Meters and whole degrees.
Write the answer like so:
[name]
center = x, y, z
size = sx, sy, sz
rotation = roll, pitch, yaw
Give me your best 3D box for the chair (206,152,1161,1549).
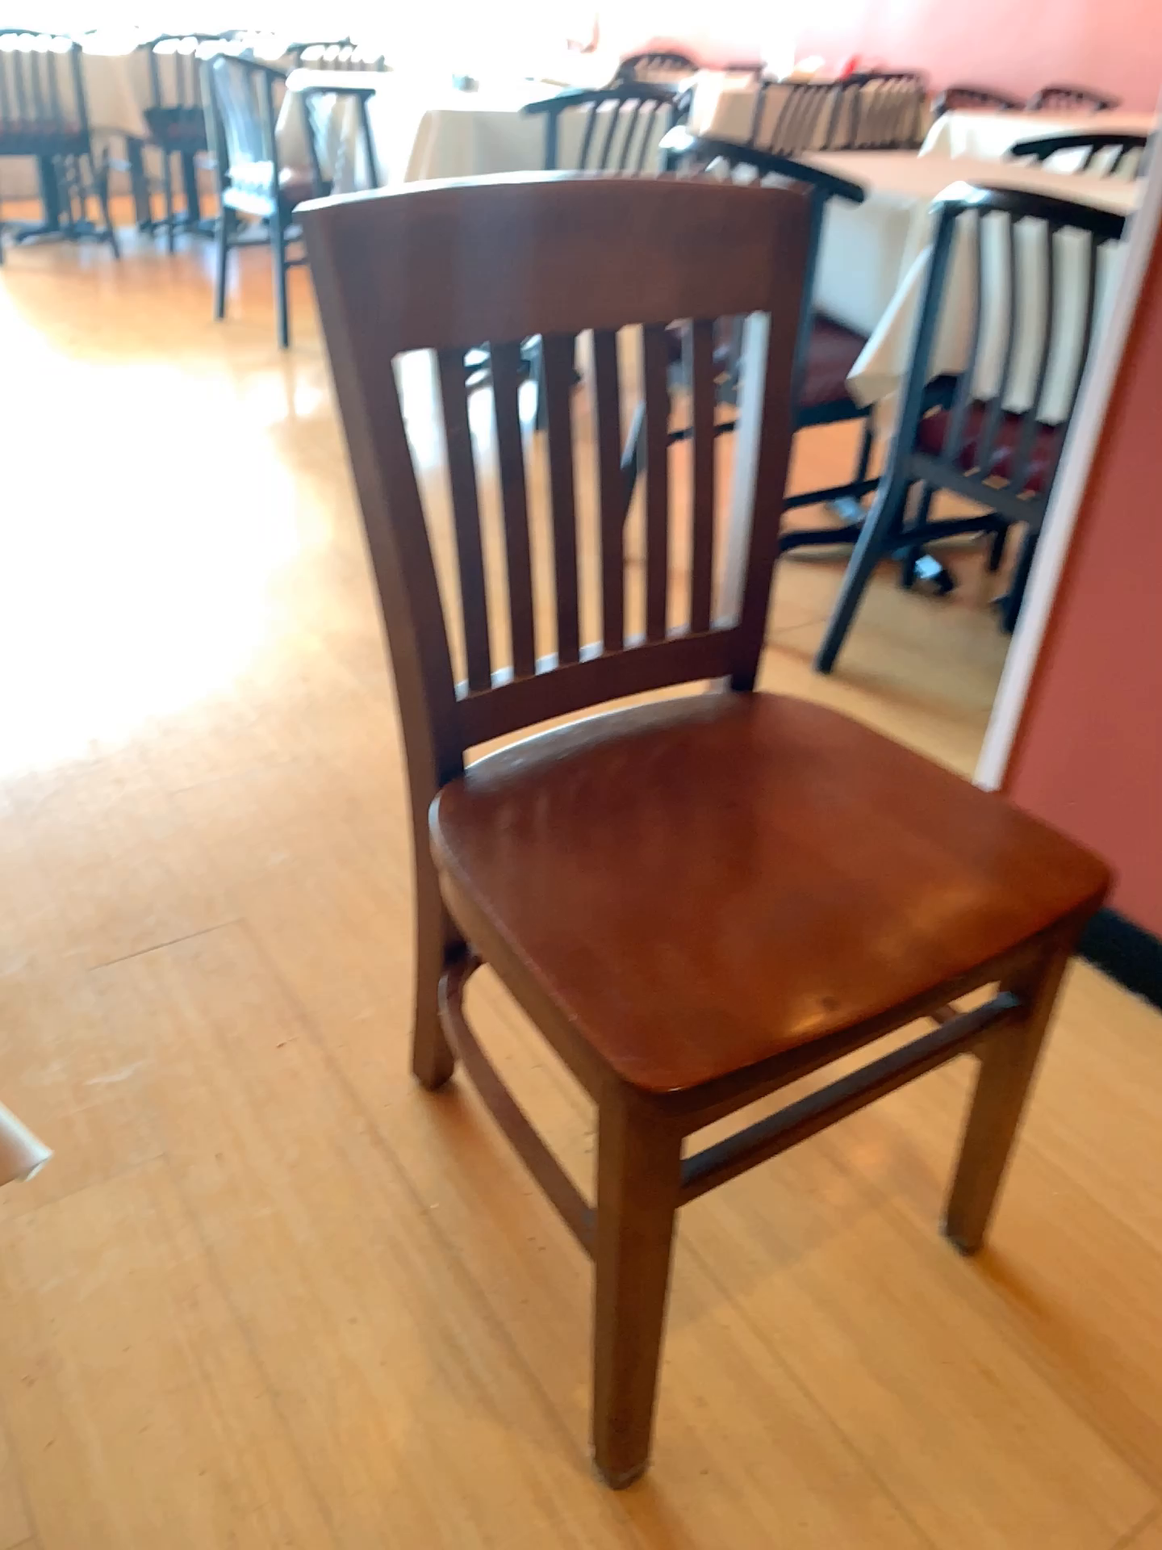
[chair]
center = 0.106, 0.010, 0.981
size = 0.541, 0.875, 0.572
rotation = -17, 37, -29
